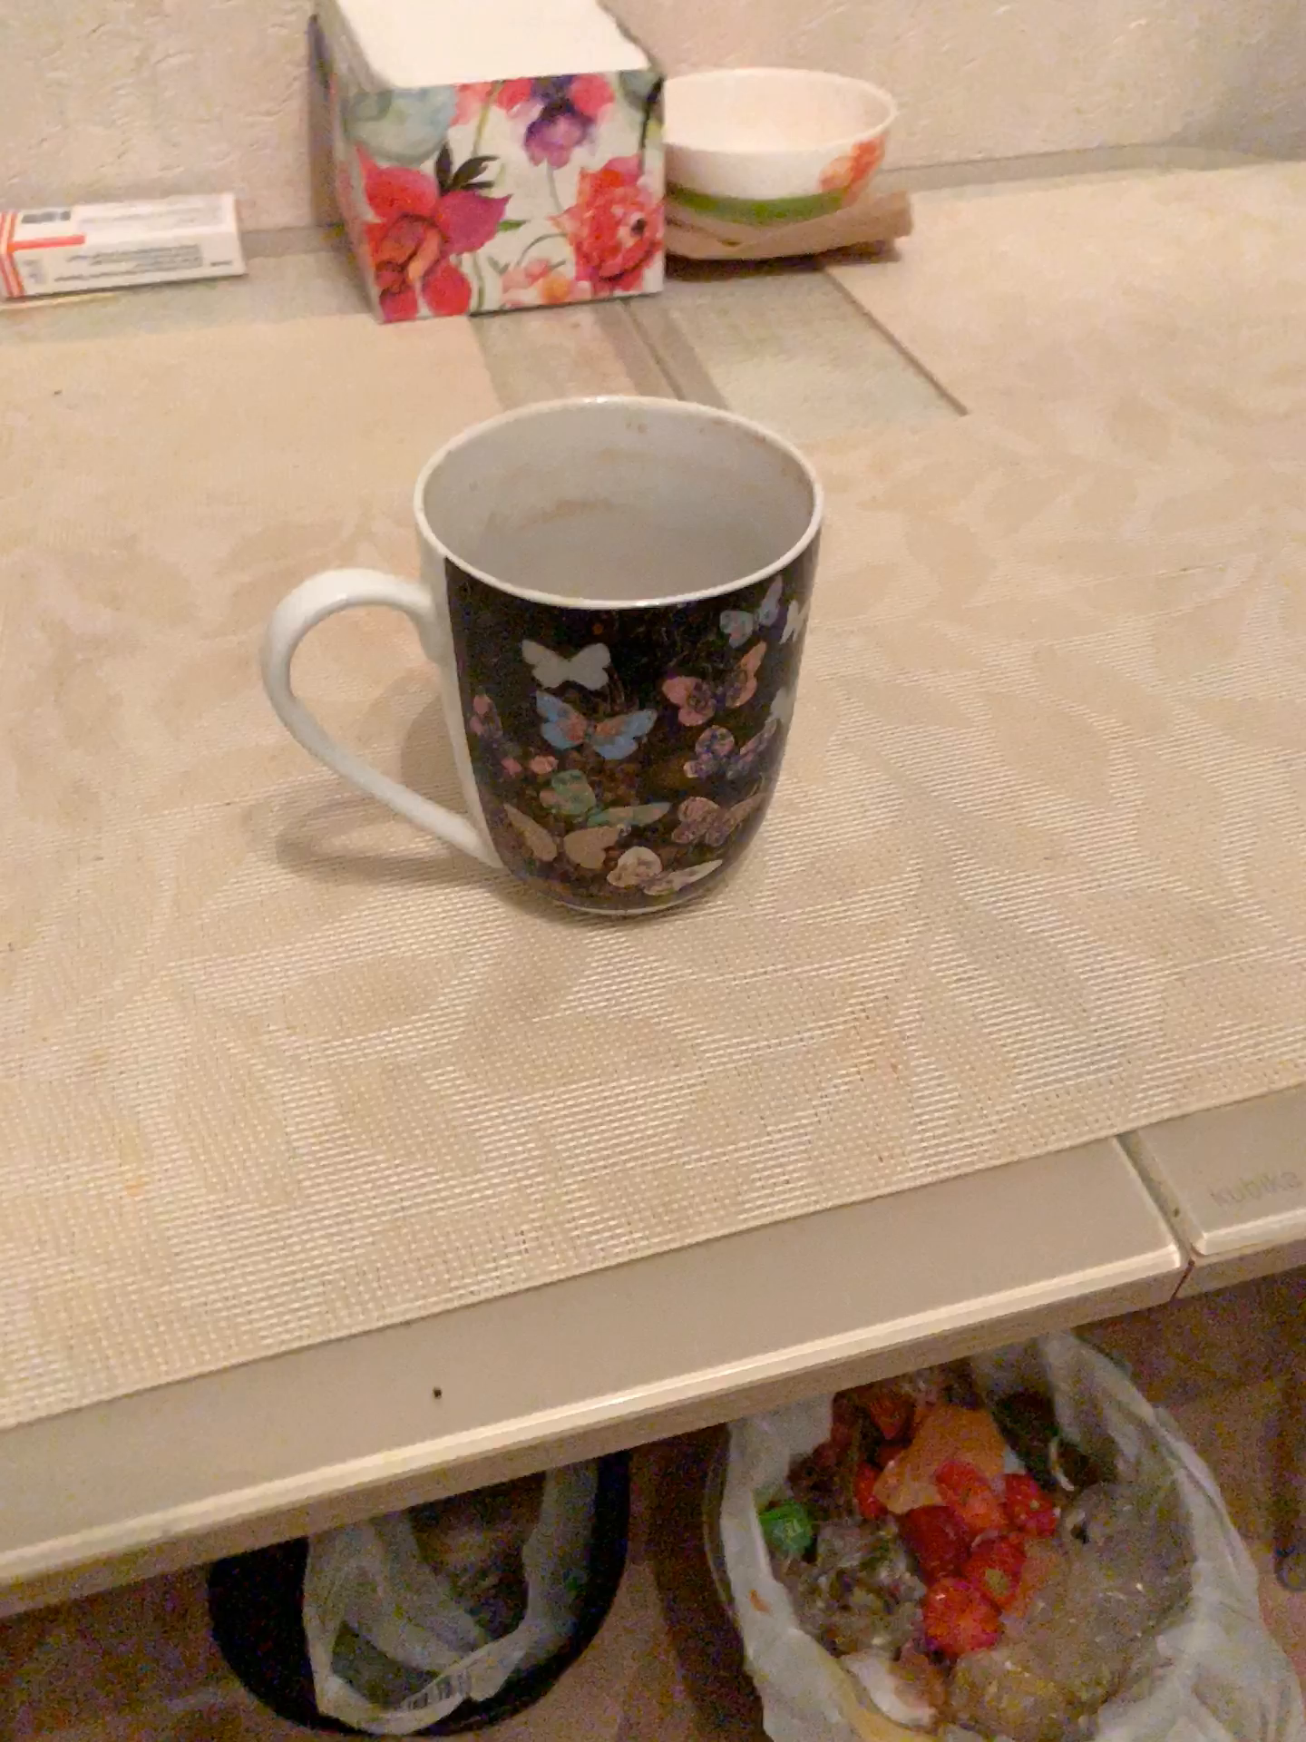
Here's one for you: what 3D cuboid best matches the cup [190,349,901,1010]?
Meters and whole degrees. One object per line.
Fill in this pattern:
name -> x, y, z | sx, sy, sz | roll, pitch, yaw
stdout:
cup -> -0.025, -0.045, 0.302 | 0.126, 0.097, 0.082 | -12, 46, -12
